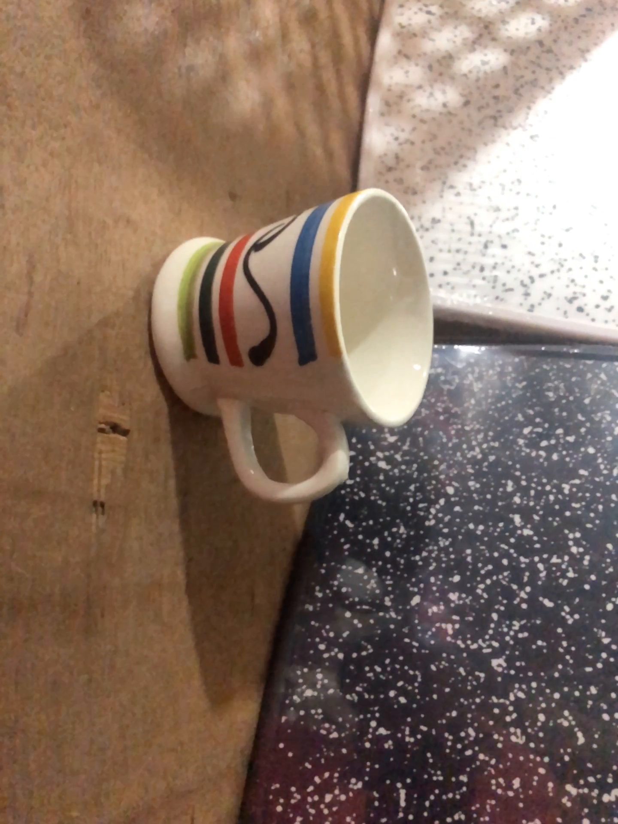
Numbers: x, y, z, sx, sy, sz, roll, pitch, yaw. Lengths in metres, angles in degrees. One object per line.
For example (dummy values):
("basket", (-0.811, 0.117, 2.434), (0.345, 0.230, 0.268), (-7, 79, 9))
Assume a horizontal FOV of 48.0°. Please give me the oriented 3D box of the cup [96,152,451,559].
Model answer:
("cup", (-0.007, -0.010, 0.213), (0.060, 0.079, 0.100), (22, 69, -56))
